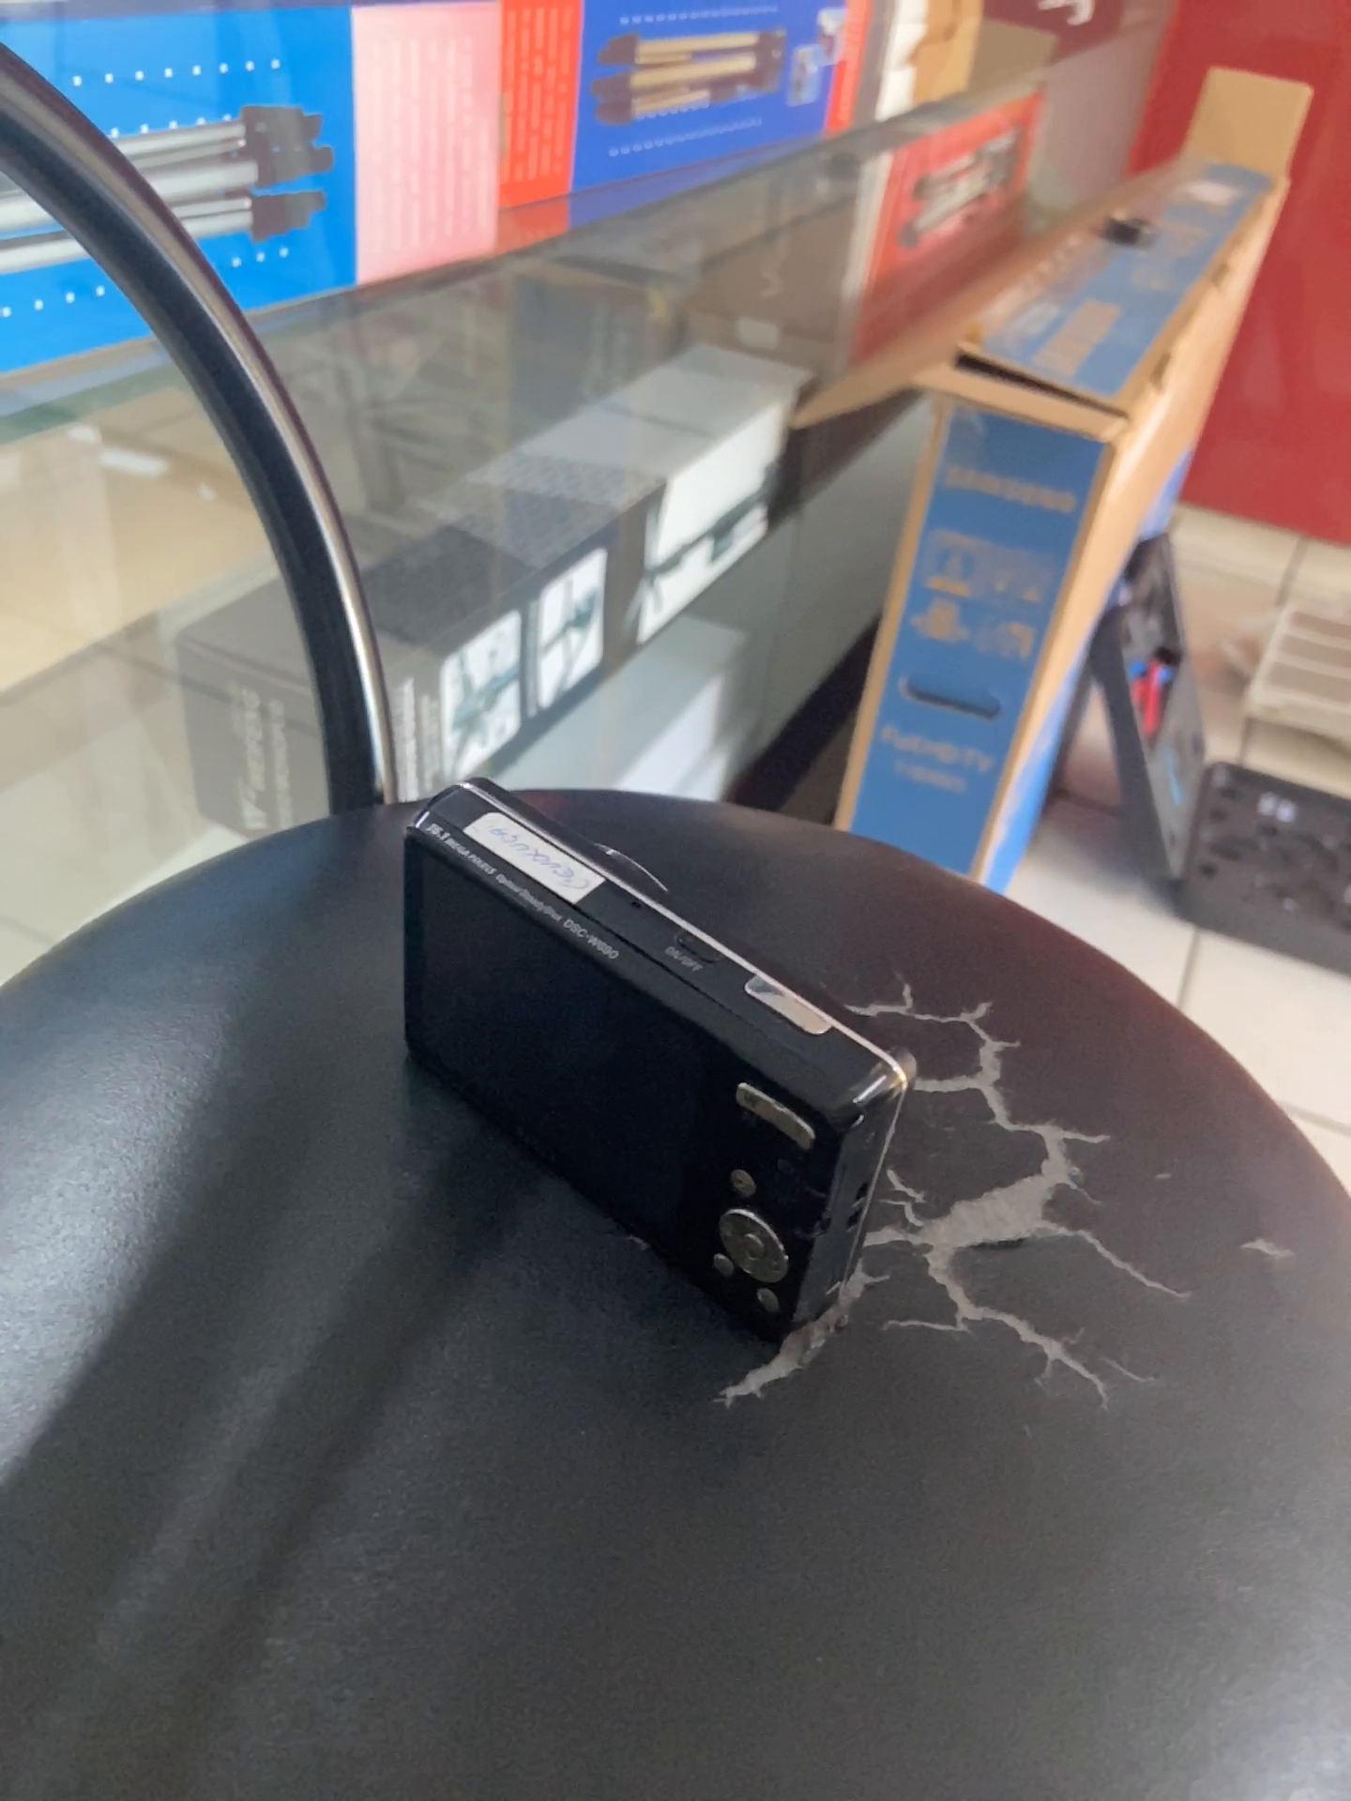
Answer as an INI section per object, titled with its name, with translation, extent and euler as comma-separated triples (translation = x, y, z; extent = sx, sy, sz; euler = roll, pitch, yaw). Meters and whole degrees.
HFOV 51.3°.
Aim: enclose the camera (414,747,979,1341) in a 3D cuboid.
[camera]
translation = -0.003, 0.021, 0.234
extent = 0.097, 0.051, 0.024
euler = 33, 43, 28
